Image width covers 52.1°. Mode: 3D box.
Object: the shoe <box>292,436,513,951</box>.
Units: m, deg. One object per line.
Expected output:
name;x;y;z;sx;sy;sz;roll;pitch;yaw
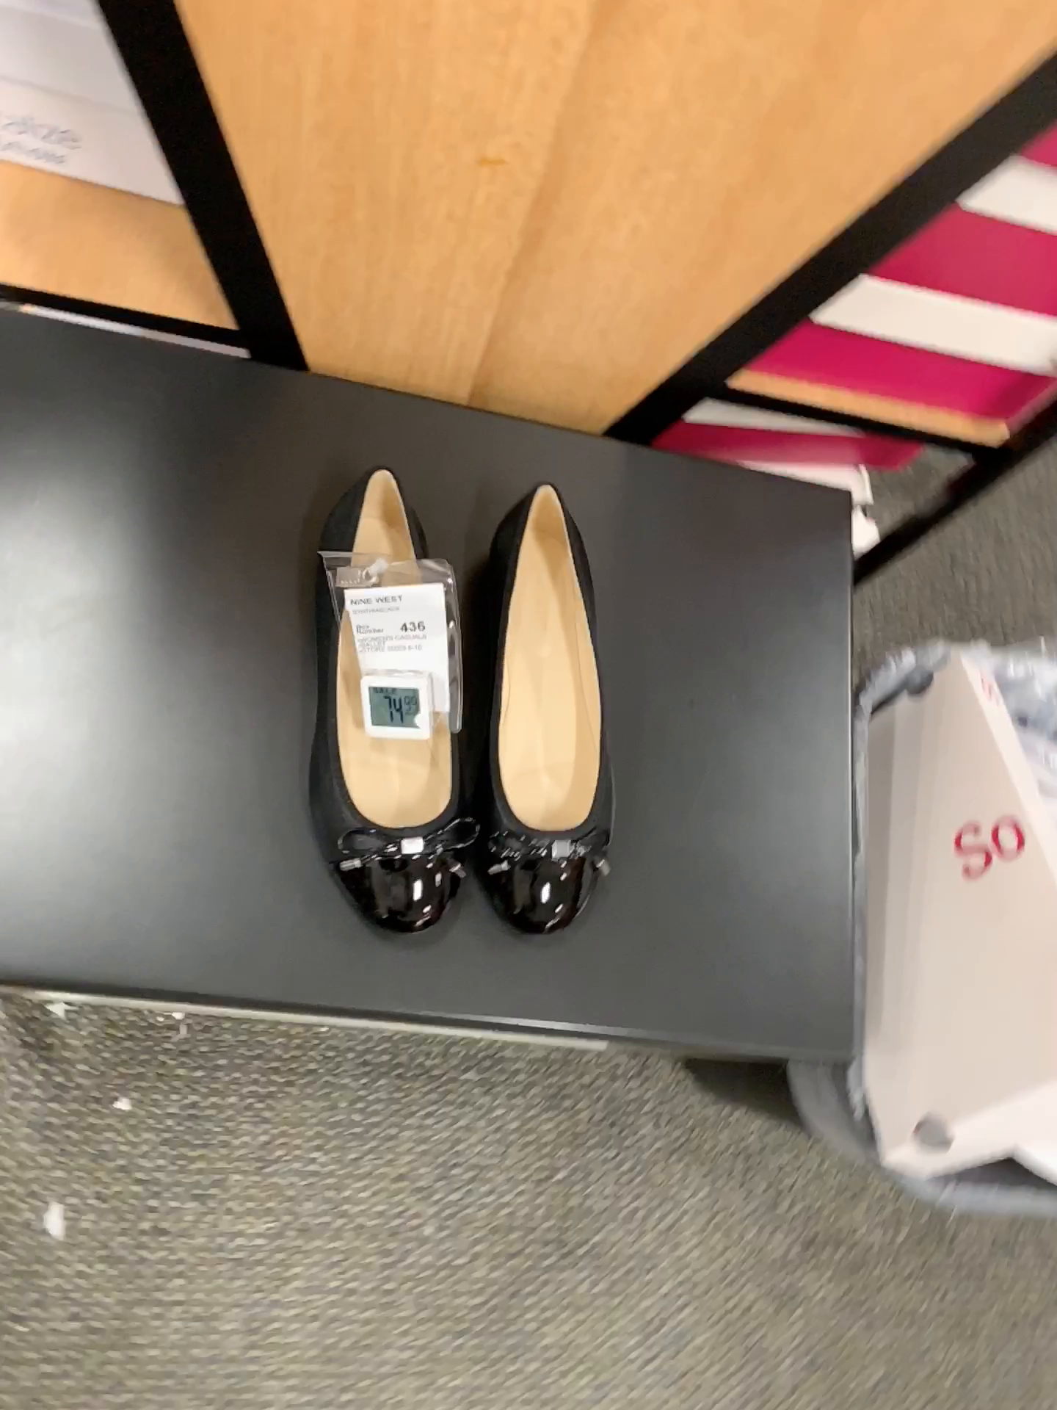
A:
shoe;-0.074;-0.004;0.575;0.090;0.100;0.250;-1;74;-15

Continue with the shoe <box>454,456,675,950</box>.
shoe;0.013;0.004;0.596;0.090;0.100;0.250;3;73;-14
